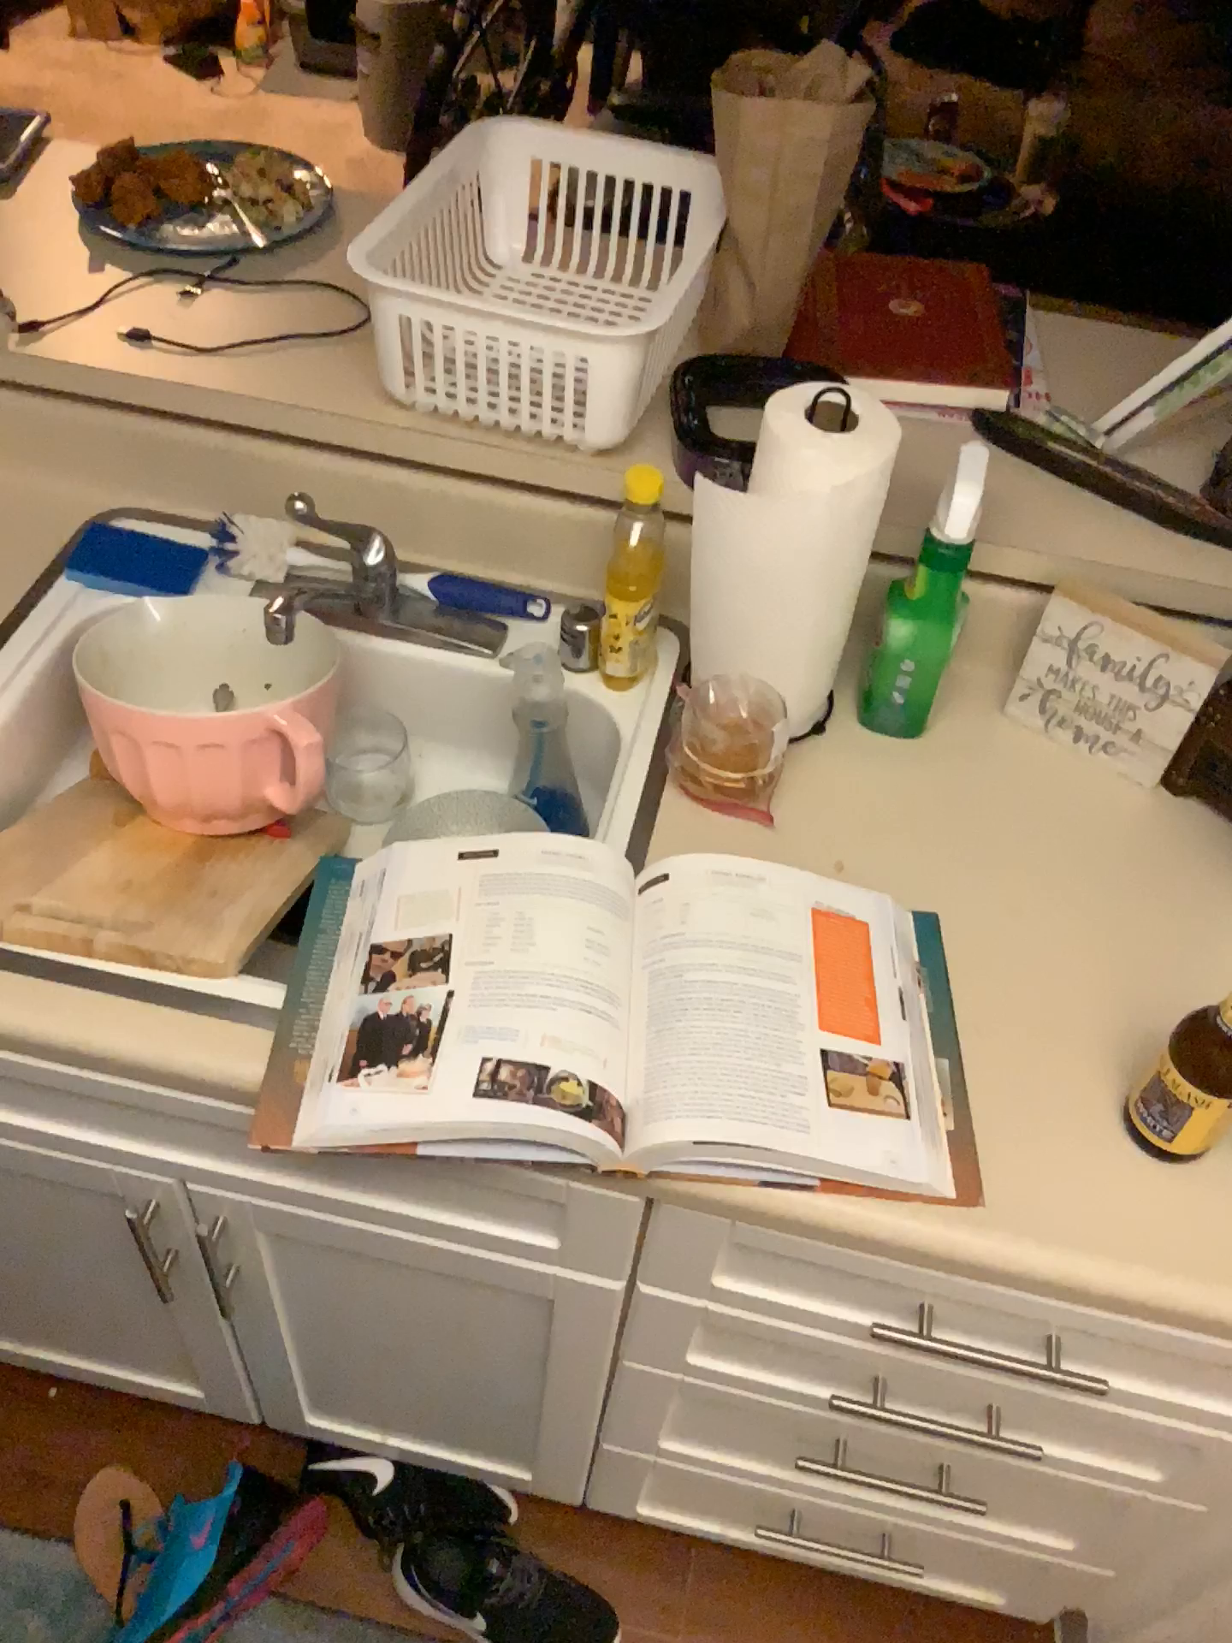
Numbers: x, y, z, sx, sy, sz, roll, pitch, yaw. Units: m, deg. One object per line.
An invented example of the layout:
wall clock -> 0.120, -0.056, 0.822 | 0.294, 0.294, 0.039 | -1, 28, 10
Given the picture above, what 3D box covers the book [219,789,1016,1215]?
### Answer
book -> 0.008, 0.123, 1.022 | 0.530, 0.040, 0.310 | 5, 47, -2
